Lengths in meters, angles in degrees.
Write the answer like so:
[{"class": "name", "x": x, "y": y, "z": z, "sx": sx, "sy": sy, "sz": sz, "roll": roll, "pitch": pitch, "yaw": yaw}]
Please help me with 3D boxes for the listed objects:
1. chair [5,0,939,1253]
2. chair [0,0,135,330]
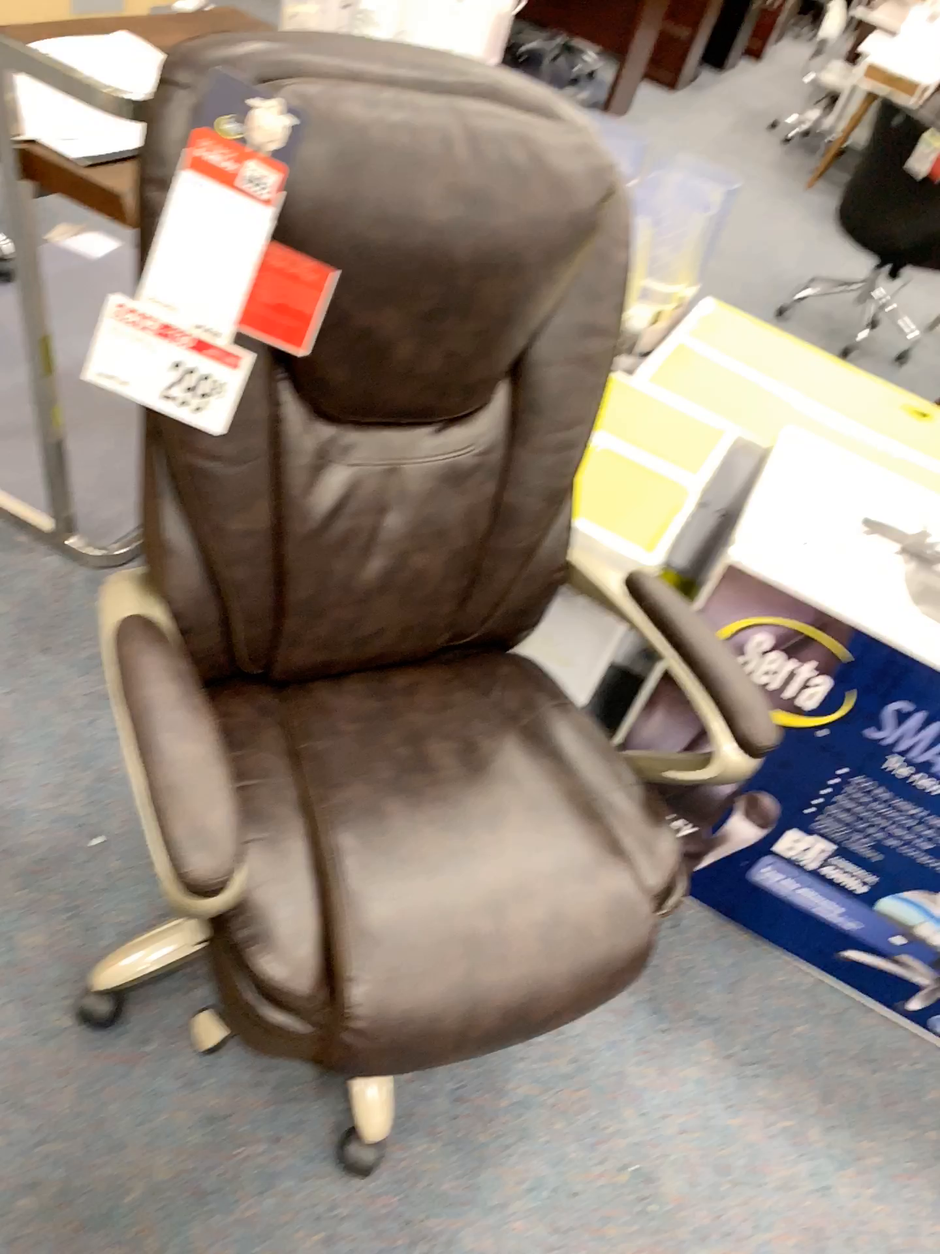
[{"class": "chair", "x": -0.078, "y": 0.028, "z": 1.138, "sx": 0.783, "sy": 1.104, "sz": 0.847, "roll": -3, "pitch": 47, "yaw": -27}, {"class": "chair", "x": -1.428, "y": -1.376, "z": 2.291, "sx": 0.791, "sy": 0.855, "sz": 0.828, "roll": 33, "pitch": 41, "yaw": 14}]
